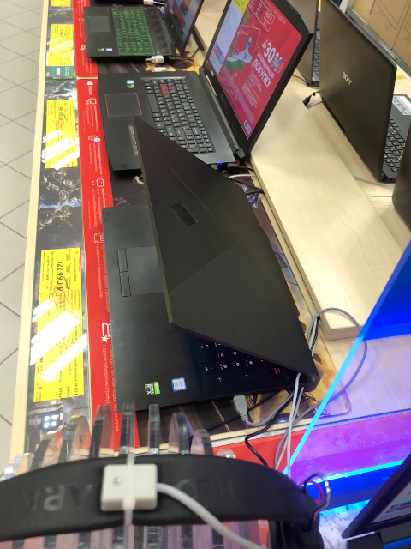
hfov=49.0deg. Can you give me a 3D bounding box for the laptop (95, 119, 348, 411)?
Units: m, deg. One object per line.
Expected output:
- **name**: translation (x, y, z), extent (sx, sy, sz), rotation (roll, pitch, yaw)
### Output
- **laptop**: translation (-0.017, -0.044, 0.657), extent (0.258, 0.166, 0.396), rotation (-6, 48, -11)
